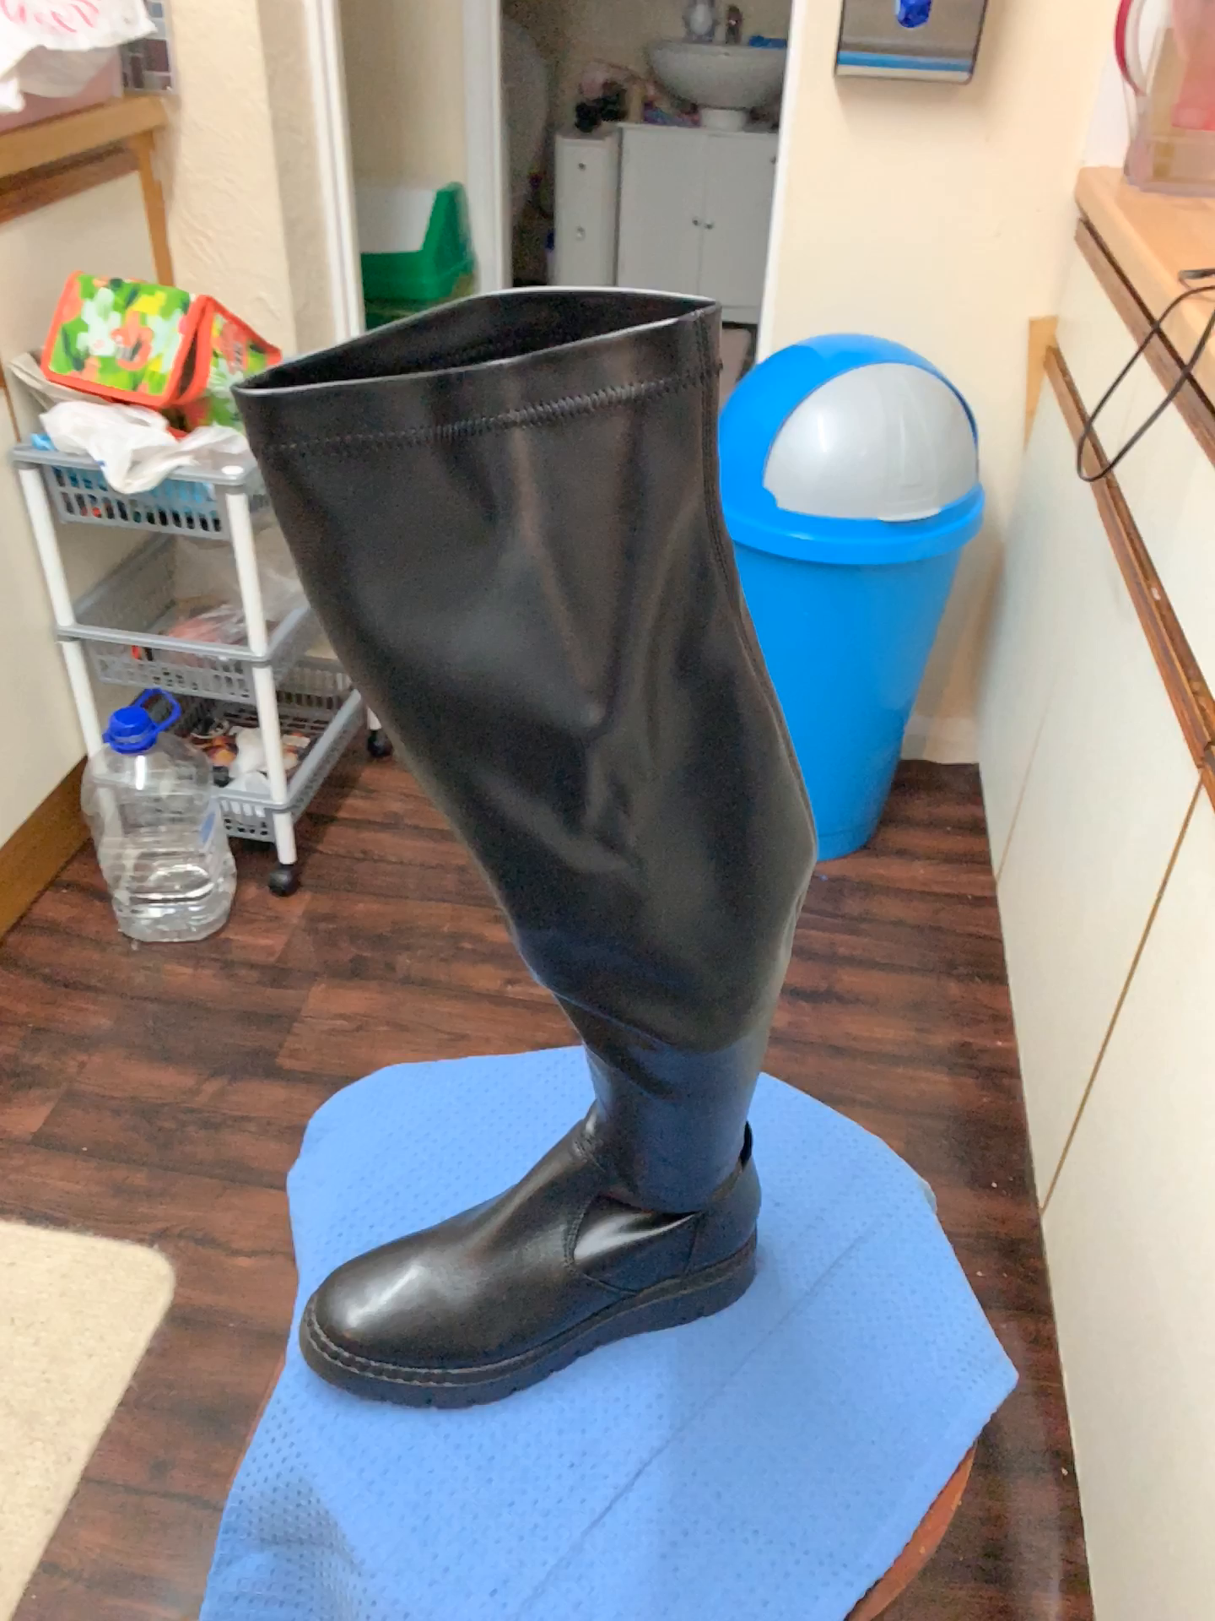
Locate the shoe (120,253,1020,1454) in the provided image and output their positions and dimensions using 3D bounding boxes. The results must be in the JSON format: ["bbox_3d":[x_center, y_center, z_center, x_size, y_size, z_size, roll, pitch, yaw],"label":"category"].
[{"bbox_3d":[-0.025,0.054,0.555,0.271,0.535,0.107,-10,37,-18],"label":"shoe"}]
